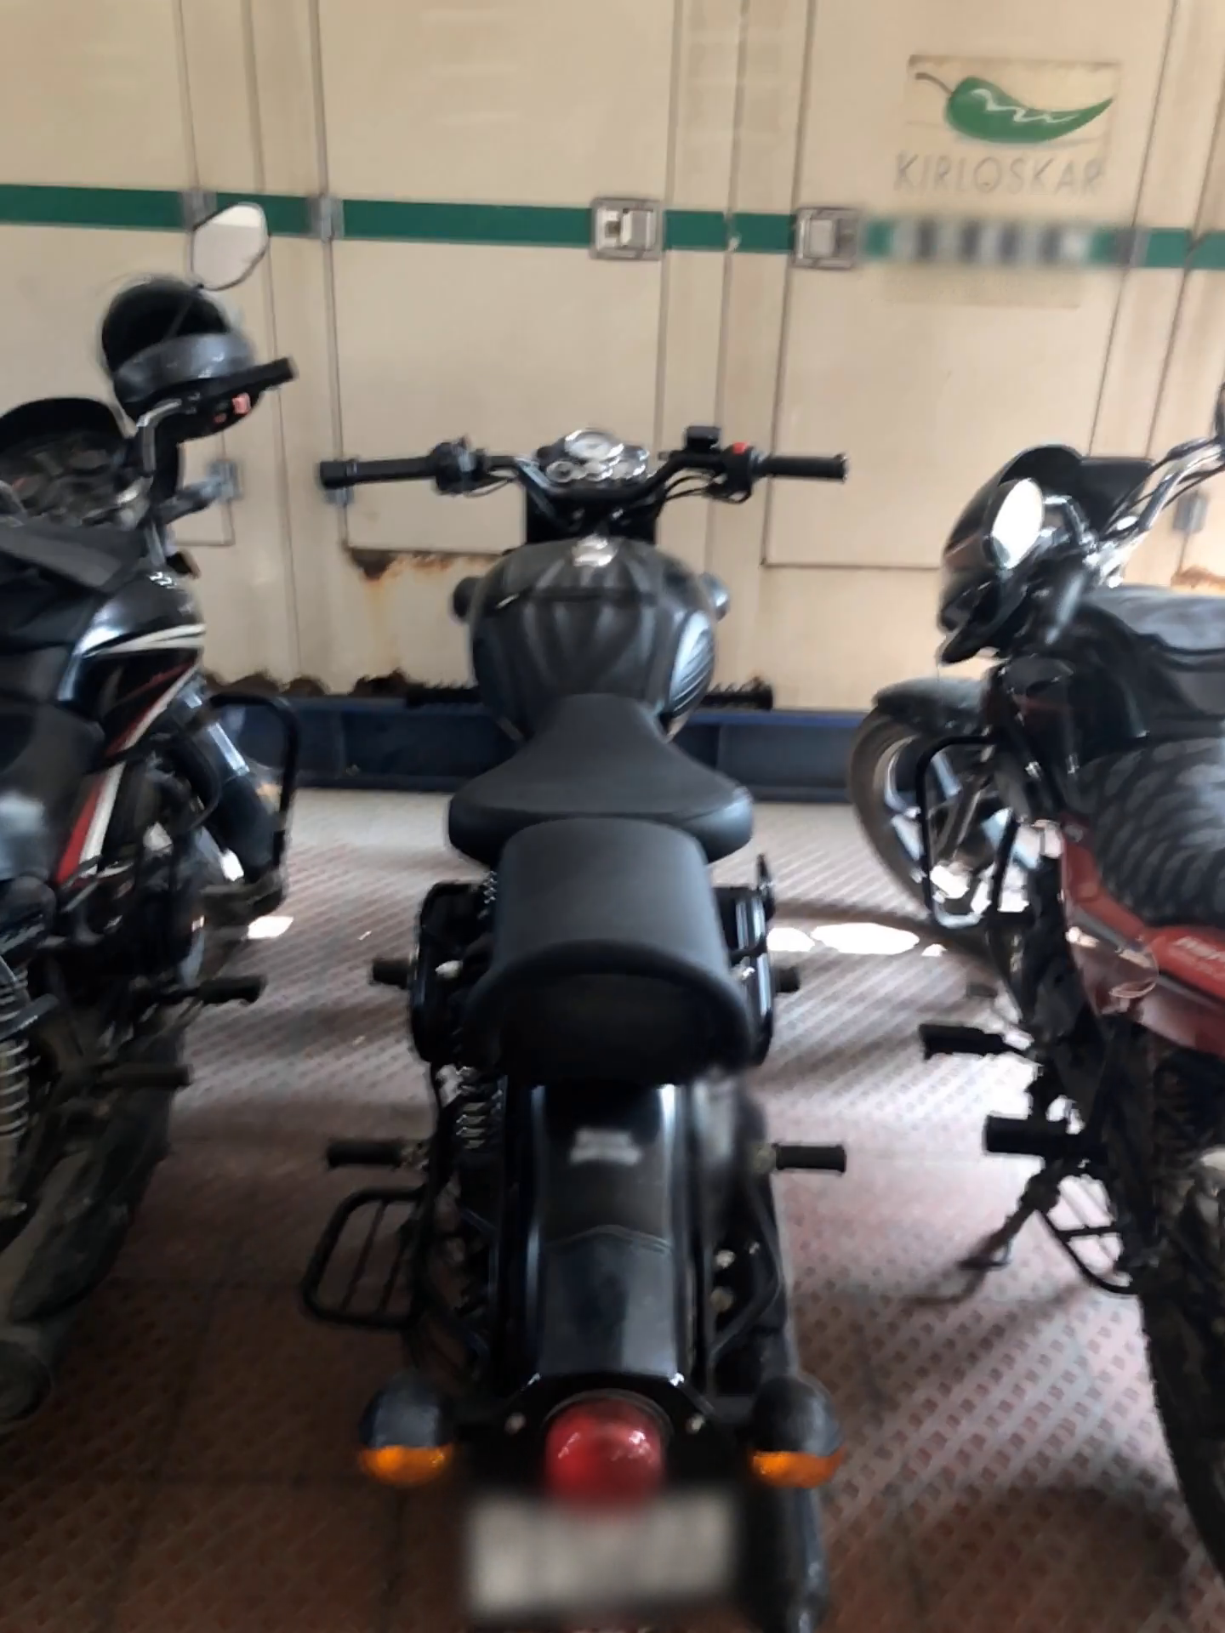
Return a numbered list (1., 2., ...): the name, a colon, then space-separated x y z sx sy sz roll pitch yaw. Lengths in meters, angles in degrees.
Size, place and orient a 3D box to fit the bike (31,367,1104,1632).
1. bike: -0.108 0.031 1.840 0.709 0.919 1.695 0 28 -5
